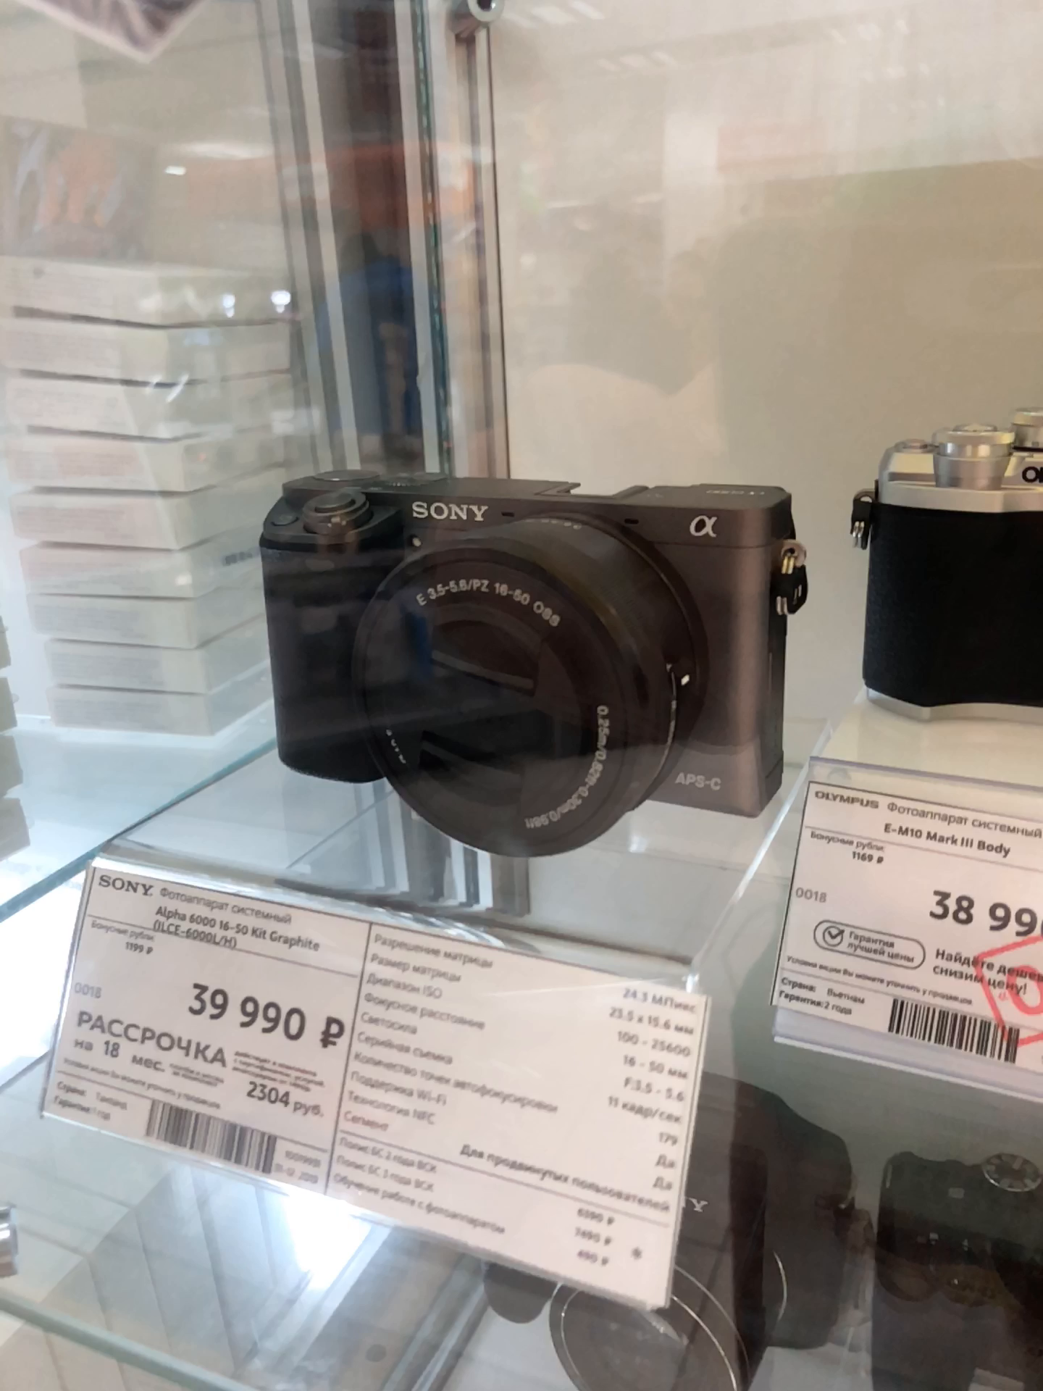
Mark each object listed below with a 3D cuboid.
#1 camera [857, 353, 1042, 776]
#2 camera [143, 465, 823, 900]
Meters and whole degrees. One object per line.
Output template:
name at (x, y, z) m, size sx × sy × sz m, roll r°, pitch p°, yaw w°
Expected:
camera at (0.157, -0.040, 0.294) m, size 0.122 × 0.081 × 0.087 m, roll 6°, pitch 19°, yaw 25°
camera at (-0.006, -0.012, 0.258) m, size 0.130 × 0.070 × 0.066 m, roll 6°, pitch 19°, yaw 26°
